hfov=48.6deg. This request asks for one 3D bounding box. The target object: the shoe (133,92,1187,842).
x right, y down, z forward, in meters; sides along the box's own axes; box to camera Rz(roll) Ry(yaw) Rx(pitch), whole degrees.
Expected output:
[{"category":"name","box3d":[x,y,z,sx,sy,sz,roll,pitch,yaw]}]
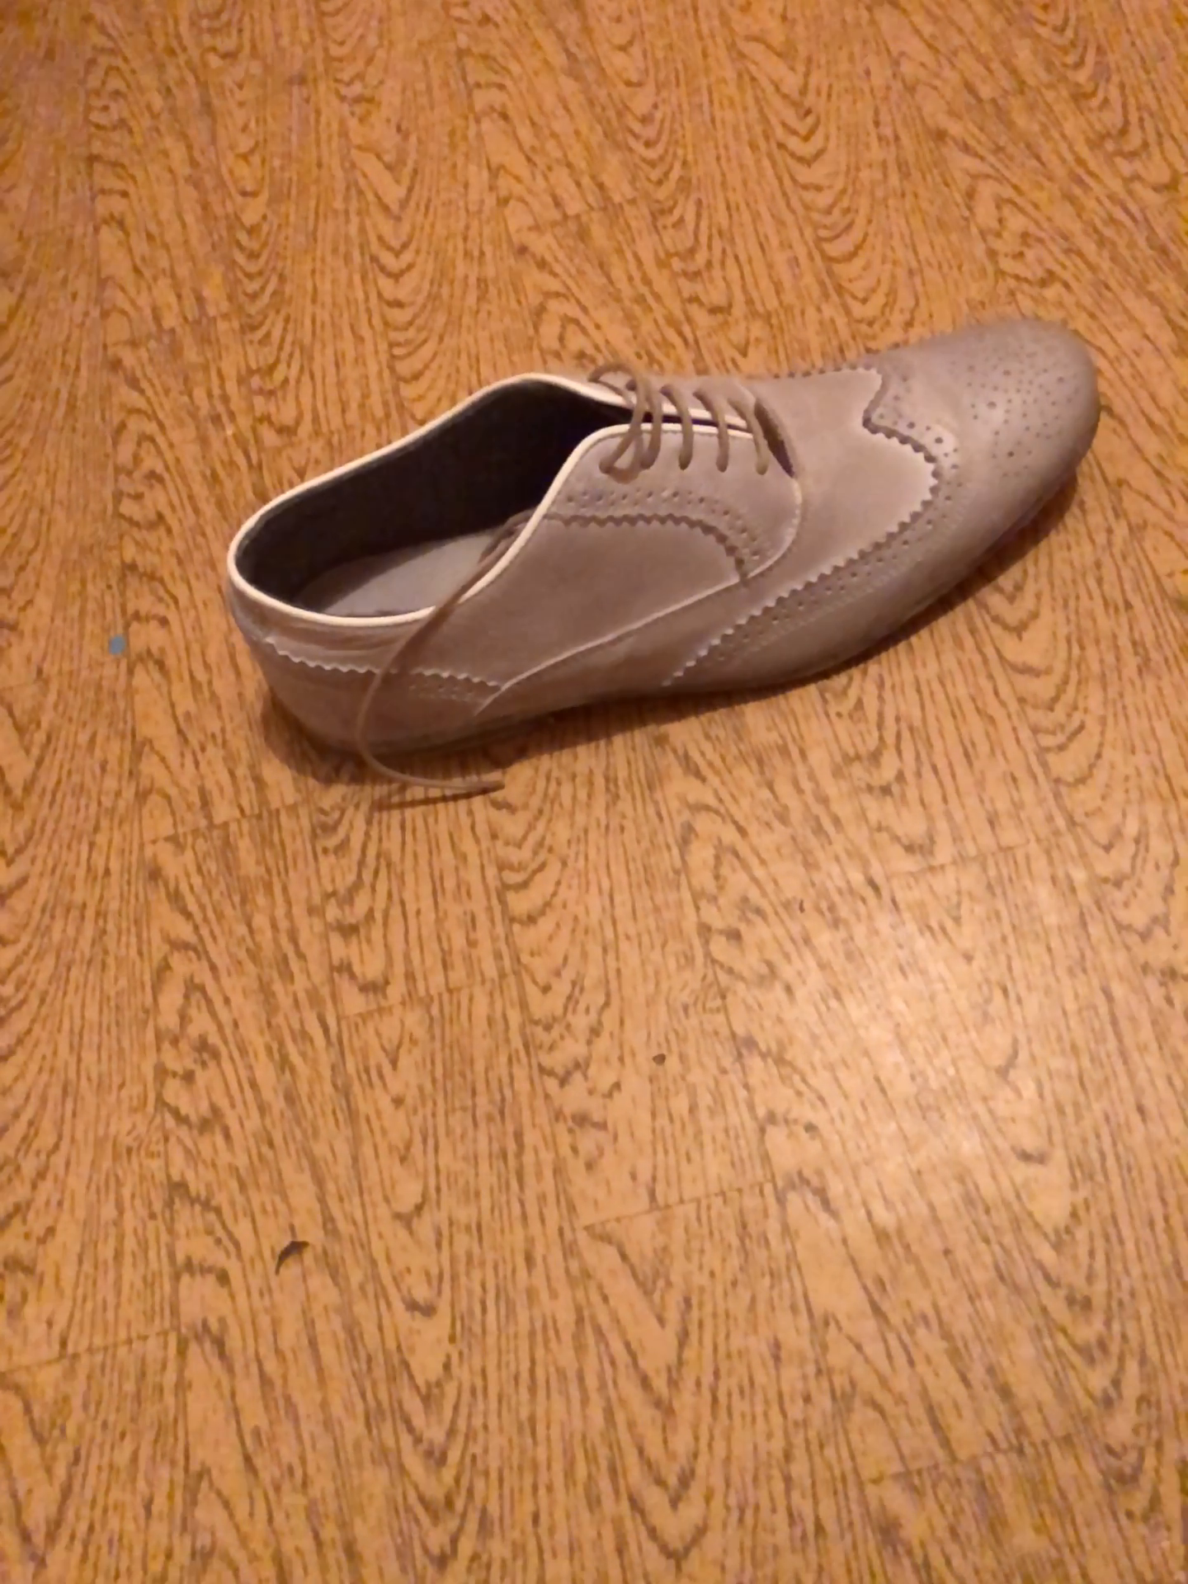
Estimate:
[{"category":"shoe","box3d":[0.025,-0.098,0.426,0.300,0.110,0.110,-18,64,-1]}]
